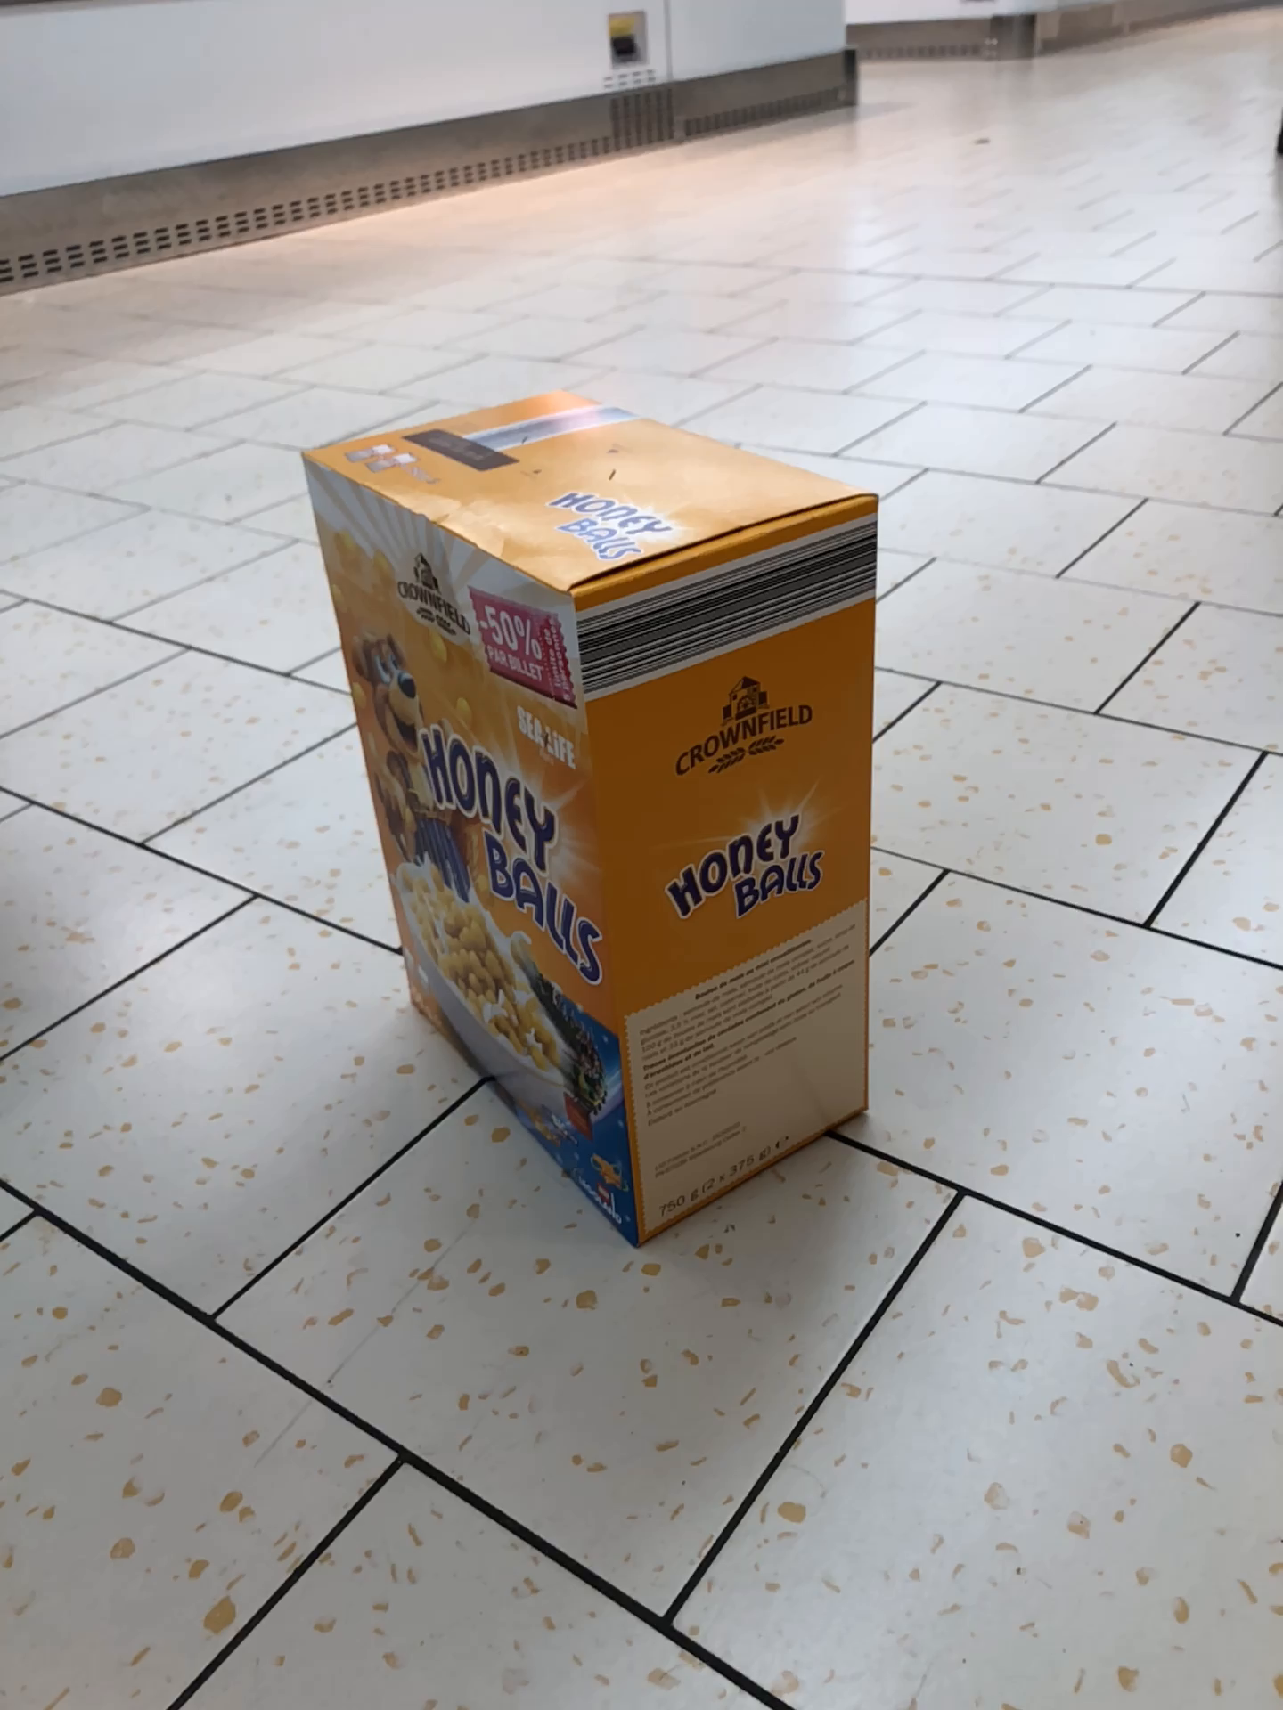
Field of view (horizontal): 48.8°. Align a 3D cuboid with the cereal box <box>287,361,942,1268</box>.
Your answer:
[{"bbox_3d":[-0.012,-0.028,0.542,0.130,0.258,0.210,-21,35,-26],"label":"cereal box"}]
